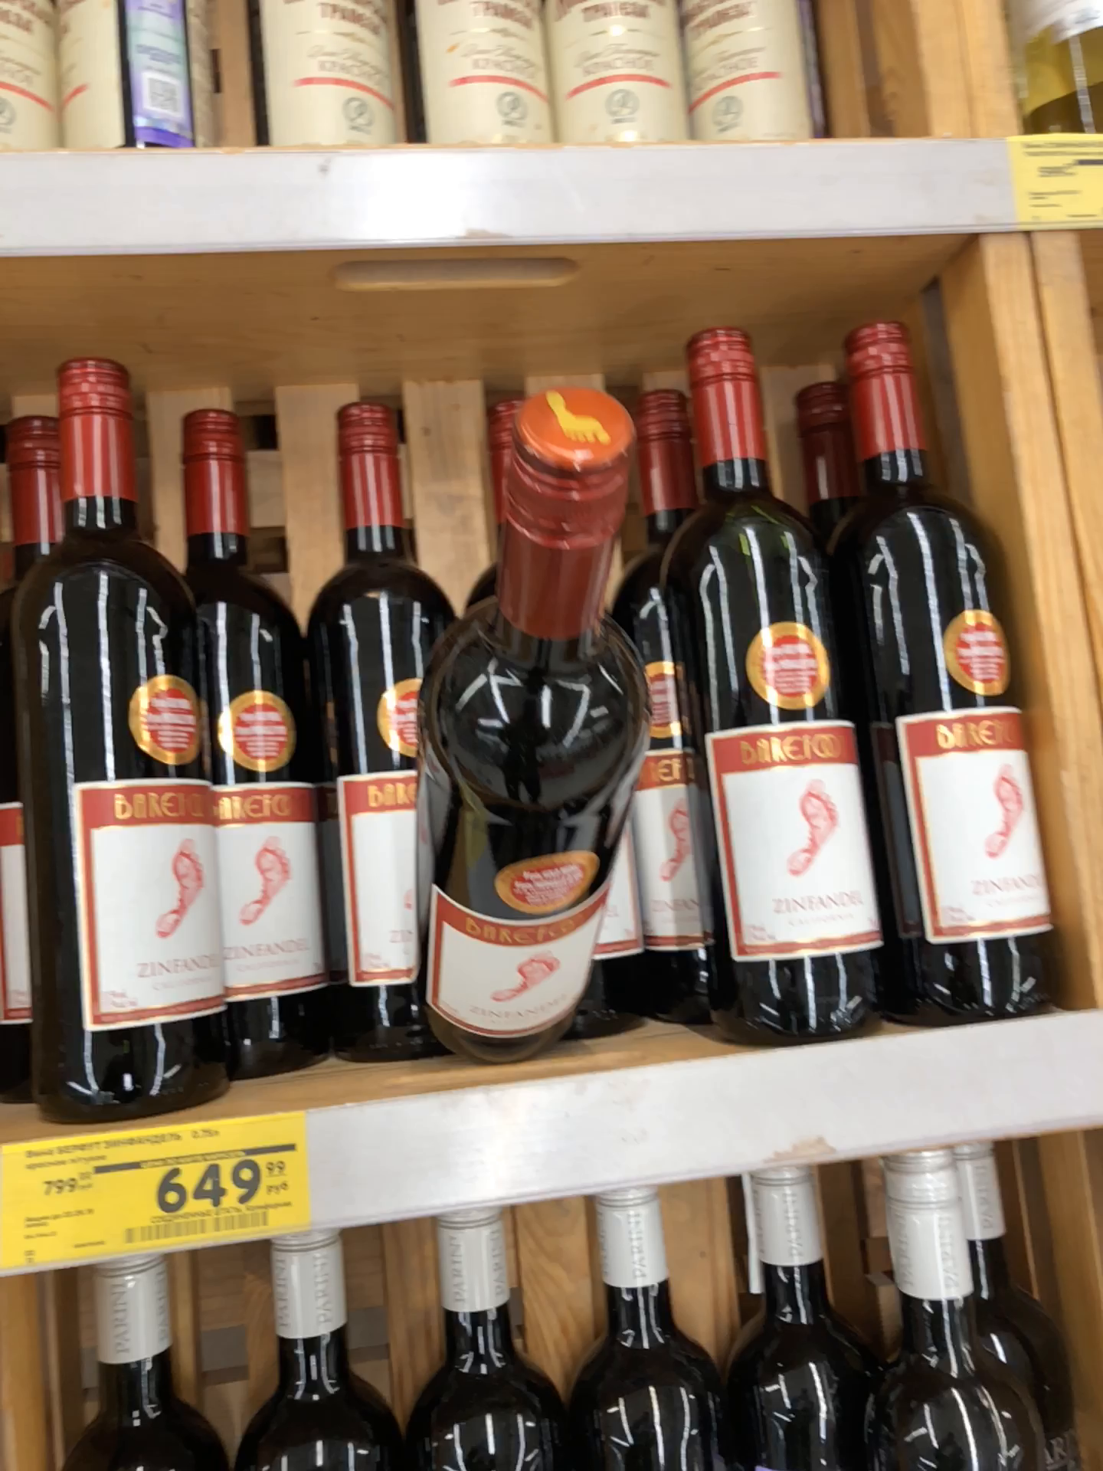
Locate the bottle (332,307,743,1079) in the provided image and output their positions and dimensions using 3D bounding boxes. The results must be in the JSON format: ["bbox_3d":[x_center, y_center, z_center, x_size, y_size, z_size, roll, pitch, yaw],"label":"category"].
[{"bbox_3d":[-0.015,0.014,0.390,0.080,0.288,0.080,2,54,-3],"label":"bottle"}]
